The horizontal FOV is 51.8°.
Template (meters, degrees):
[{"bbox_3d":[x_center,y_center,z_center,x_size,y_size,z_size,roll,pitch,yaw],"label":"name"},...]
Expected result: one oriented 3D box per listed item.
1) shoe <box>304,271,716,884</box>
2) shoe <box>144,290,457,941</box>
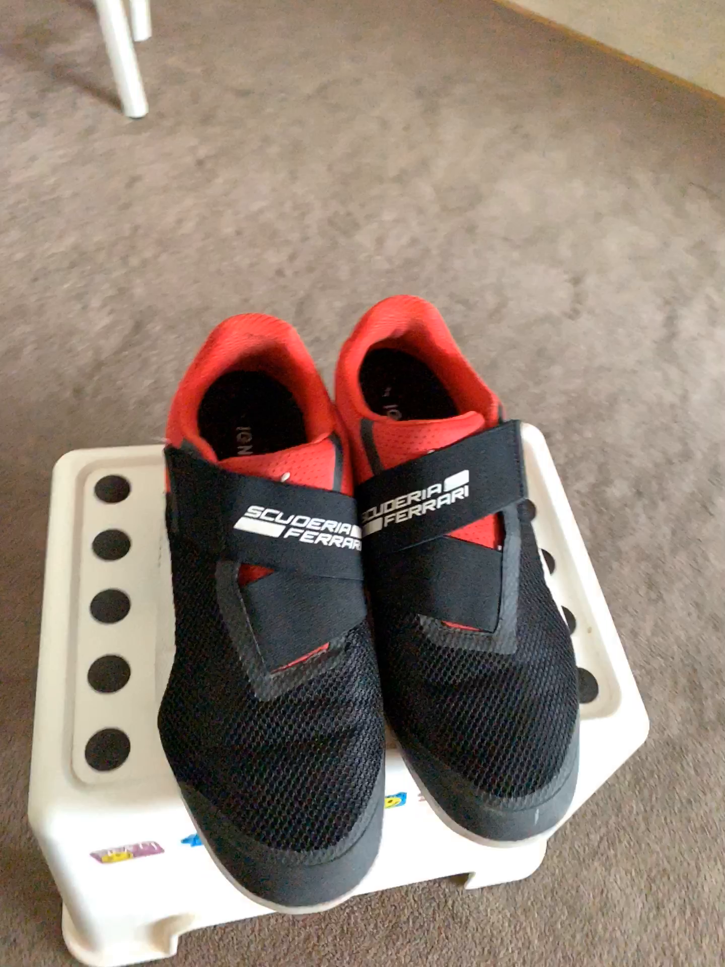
[{"bbox_3d":[0.048,0.029,0.398,0.110,0.099,0.302,-5,57,-12],"label":"shoe"},{"bbox_3d":[-0.049,0.045,0.379,0.100,0.099,0.302,-5,57,-12],"label":"shoe"}]
